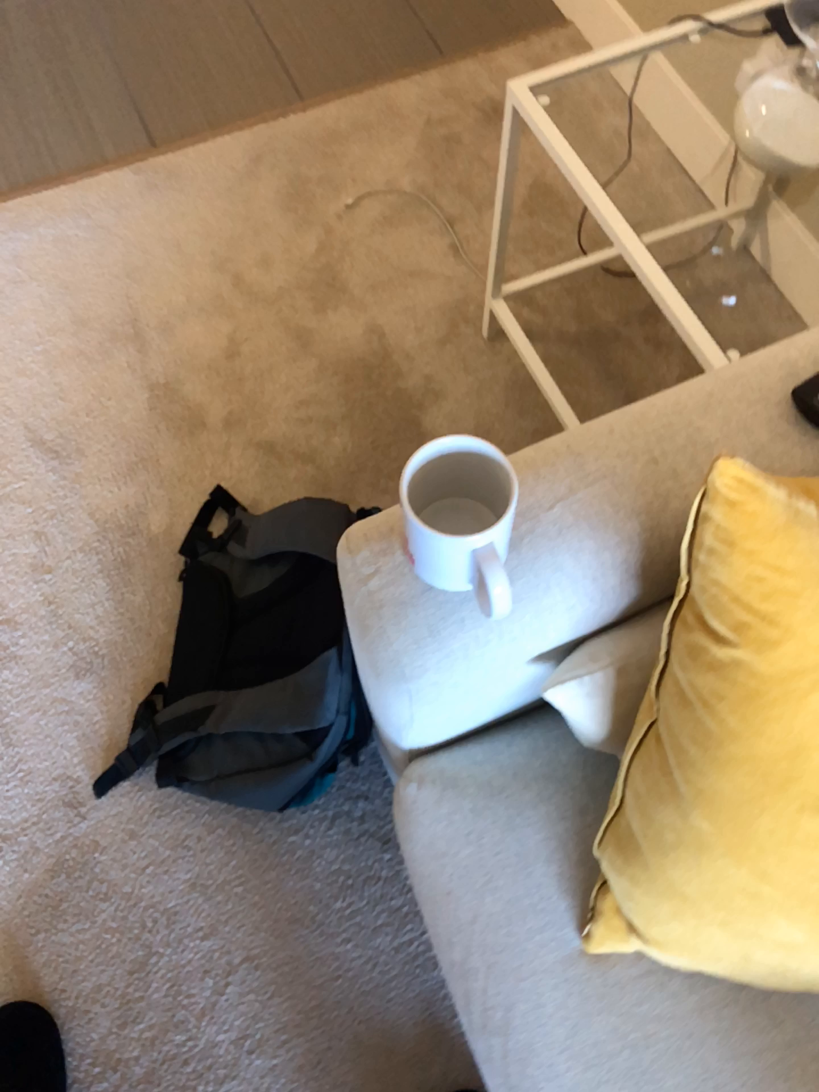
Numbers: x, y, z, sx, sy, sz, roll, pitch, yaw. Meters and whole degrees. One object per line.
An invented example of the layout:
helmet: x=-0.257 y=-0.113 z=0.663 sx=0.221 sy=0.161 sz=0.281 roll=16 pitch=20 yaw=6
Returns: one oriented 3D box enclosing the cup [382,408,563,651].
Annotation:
cup: x=0.040 y=-0.010 z=0.636 sx=0.080 sy=0.100 sz=0.120 roll=-18 pitch=66 yaw=-7
